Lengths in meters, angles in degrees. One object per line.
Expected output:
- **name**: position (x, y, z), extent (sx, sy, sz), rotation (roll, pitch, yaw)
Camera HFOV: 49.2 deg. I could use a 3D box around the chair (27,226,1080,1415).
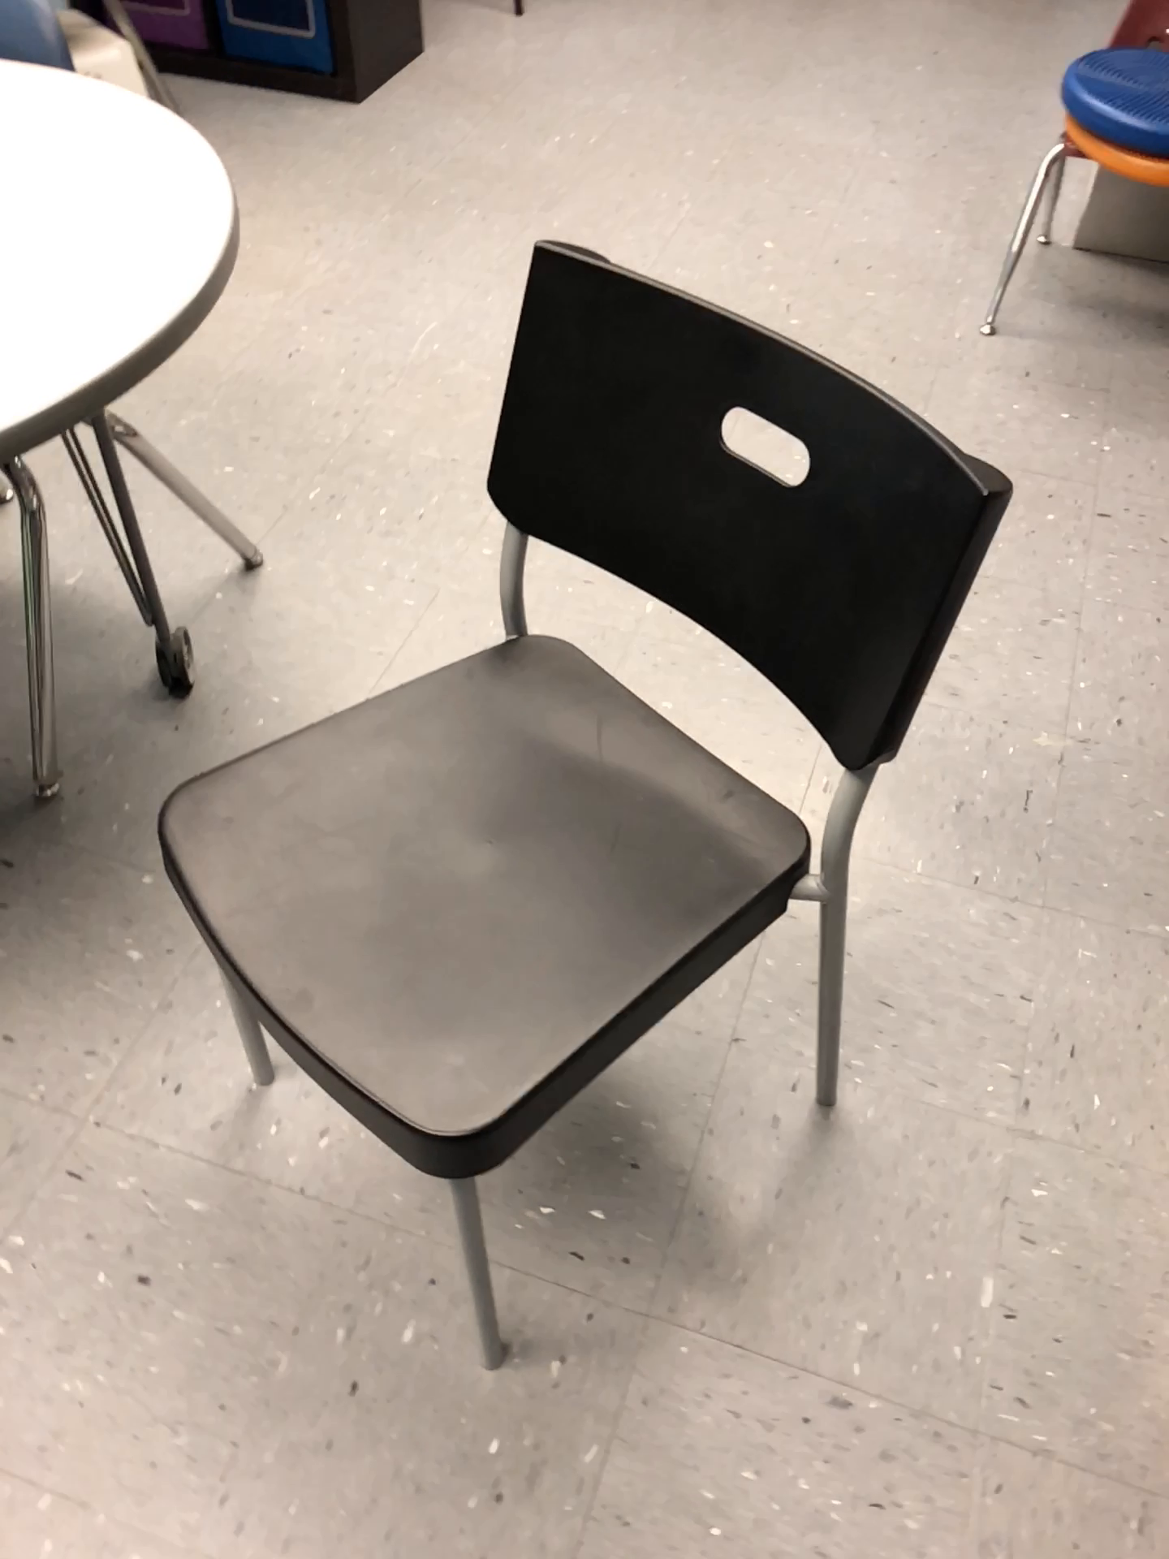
- **chair**: position (-0.027, 0.062, 1.086), extent (0.473, 0.777, 0.467), rotation (-33, 55, -27)
